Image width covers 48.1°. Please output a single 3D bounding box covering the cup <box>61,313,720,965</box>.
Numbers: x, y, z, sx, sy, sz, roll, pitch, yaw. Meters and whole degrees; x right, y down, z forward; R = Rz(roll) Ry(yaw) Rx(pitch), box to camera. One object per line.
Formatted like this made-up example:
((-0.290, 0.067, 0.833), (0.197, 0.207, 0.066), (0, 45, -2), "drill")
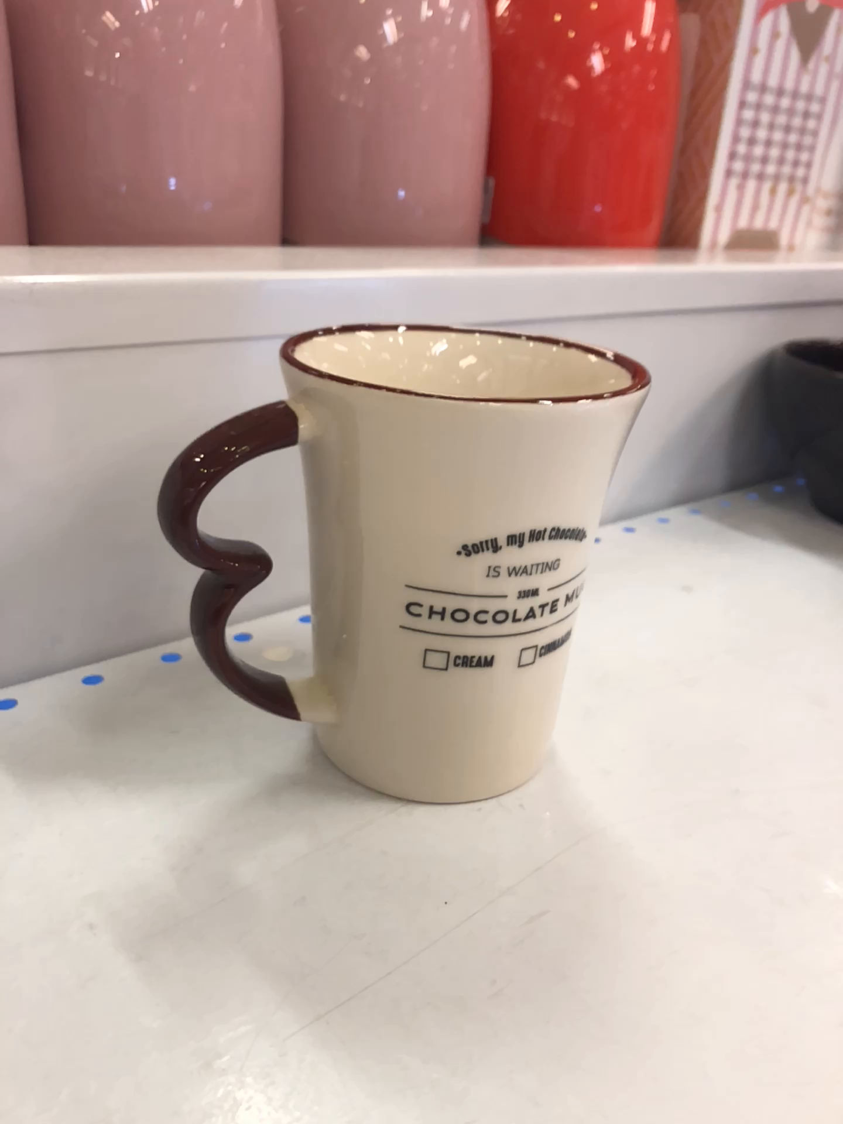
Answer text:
((-0.011, 0.003, 0.235), (0.120, 0.109, 0.090), (-12, 28, -35), "cup")
